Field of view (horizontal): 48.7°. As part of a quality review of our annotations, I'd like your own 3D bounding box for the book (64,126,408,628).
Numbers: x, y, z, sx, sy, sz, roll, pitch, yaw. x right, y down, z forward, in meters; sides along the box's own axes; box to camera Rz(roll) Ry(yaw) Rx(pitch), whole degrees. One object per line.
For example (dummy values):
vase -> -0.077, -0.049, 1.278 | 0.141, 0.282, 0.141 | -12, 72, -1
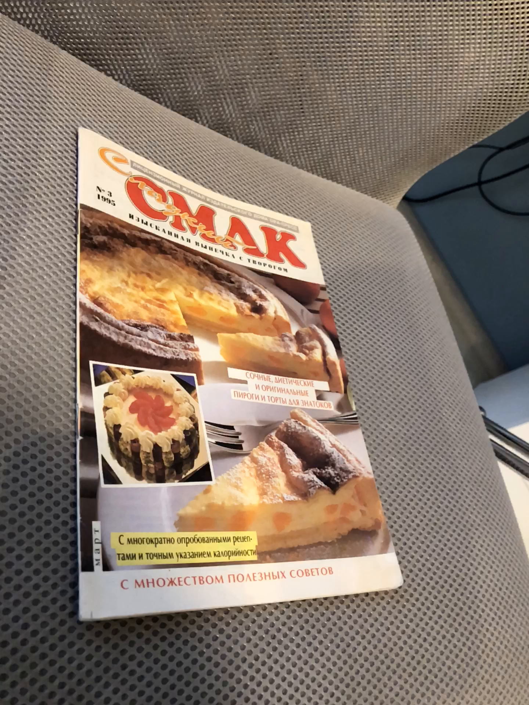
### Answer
book -> -0.013, 0.005, 0.302 | 0.174, 0.010, 0.231 | 12, 58, -36
